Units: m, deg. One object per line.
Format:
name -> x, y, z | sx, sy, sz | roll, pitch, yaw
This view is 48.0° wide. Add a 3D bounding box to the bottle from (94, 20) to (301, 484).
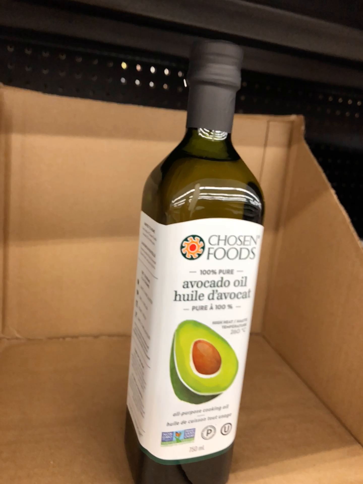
bottle -> -0.003, 0.031, 0.284 | 0.090, 0.308, 0.070 | 1, 16, -20
